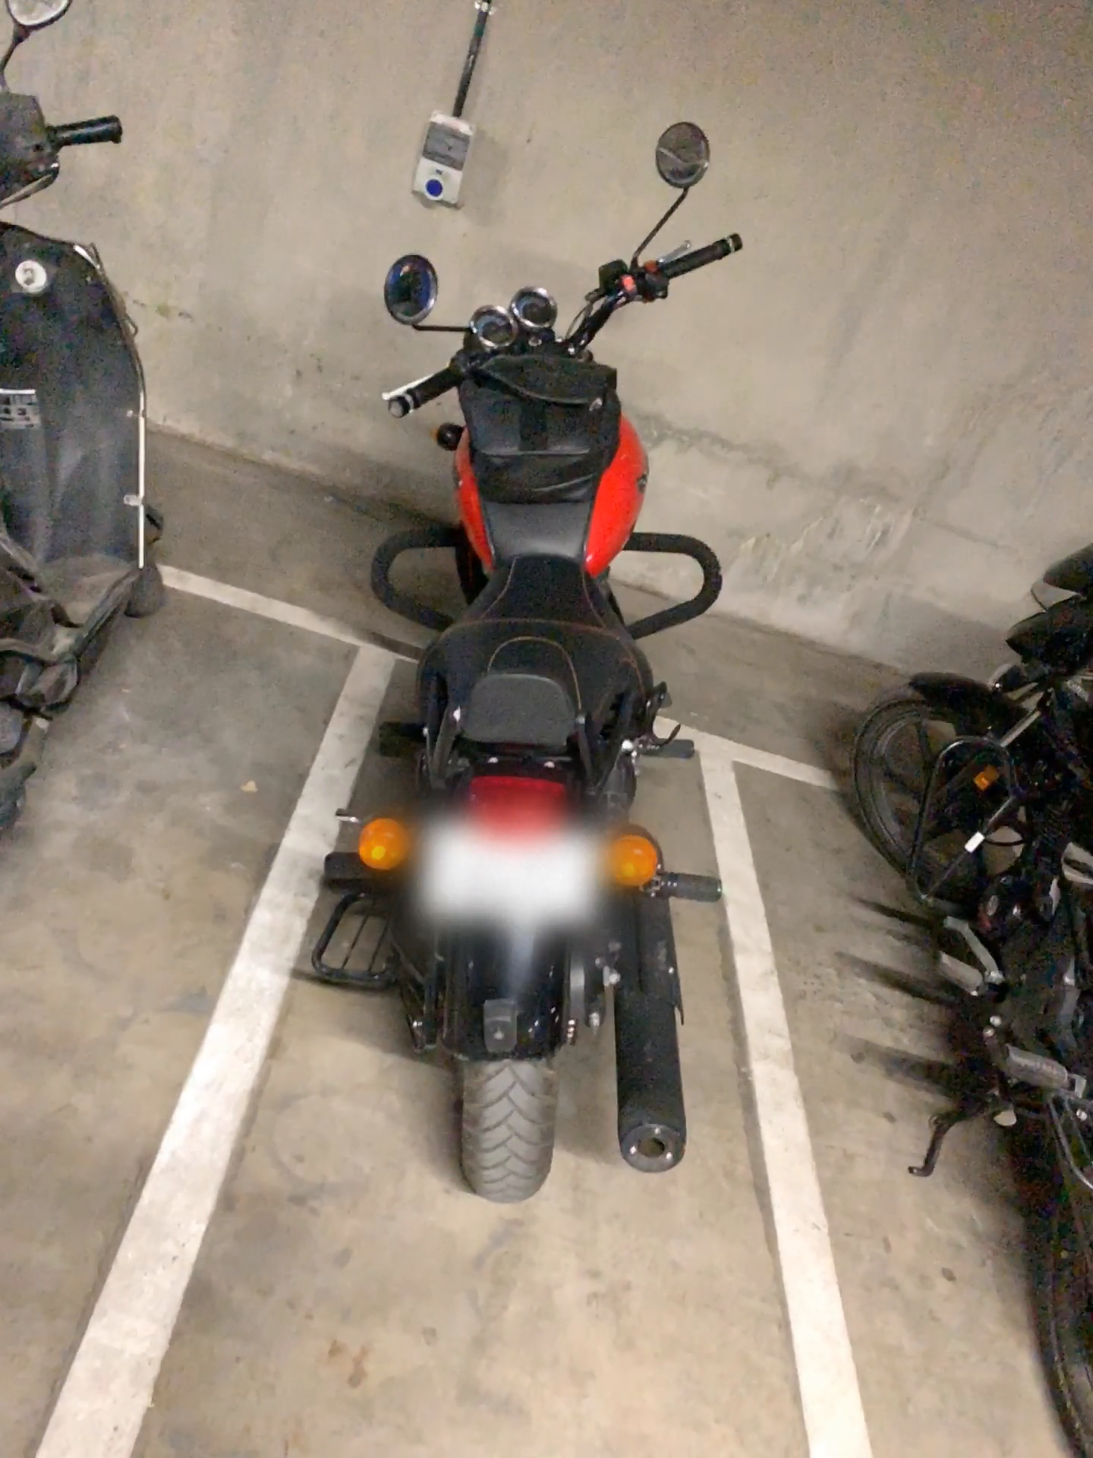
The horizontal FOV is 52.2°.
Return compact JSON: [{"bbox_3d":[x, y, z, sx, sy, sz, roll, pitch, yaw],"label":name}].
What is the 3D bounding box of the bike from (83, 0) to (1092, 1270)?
[{"bbox_3d":[-0.146,-0.352,2.032,0.829,1.301,1.844,12,33,-17],"label":"bike"}]
